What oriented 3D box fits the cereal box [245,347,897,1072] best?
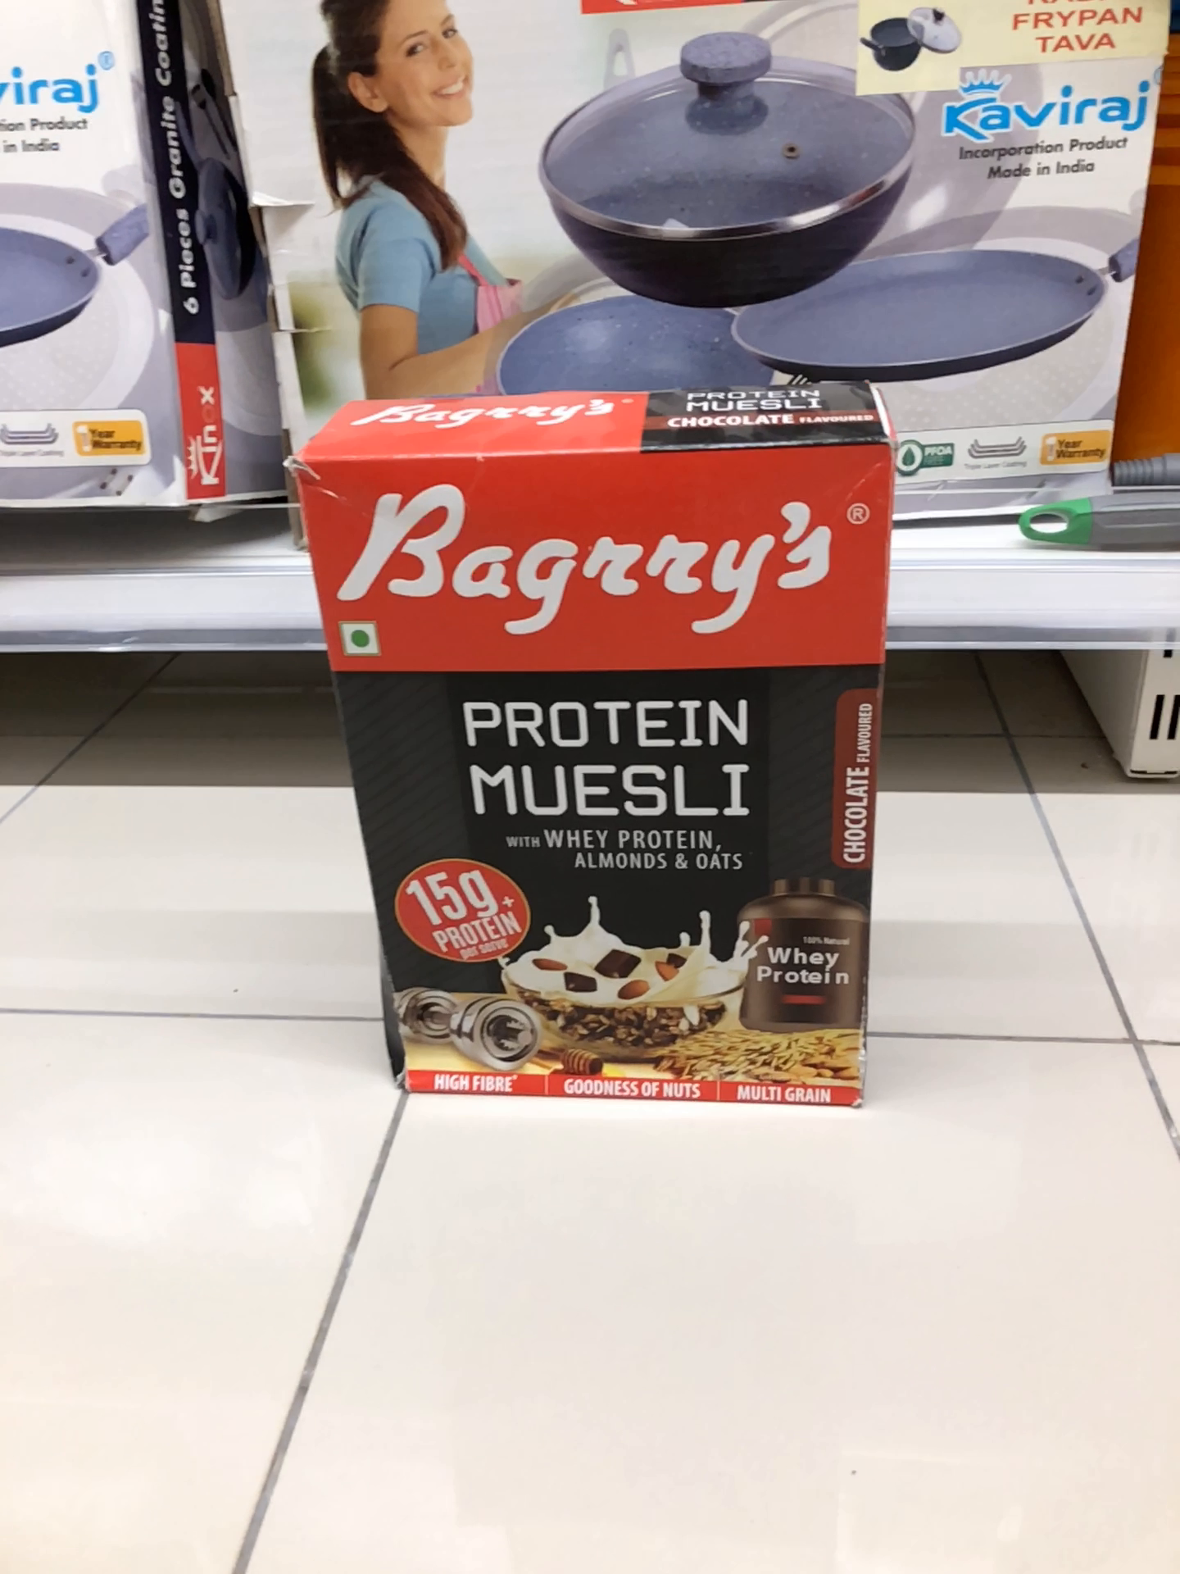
[{"bbox_3d":[0.002,-0.023,0.463,0.190,0.239,0.081,0,27,7],"label":"cereal box"}]
